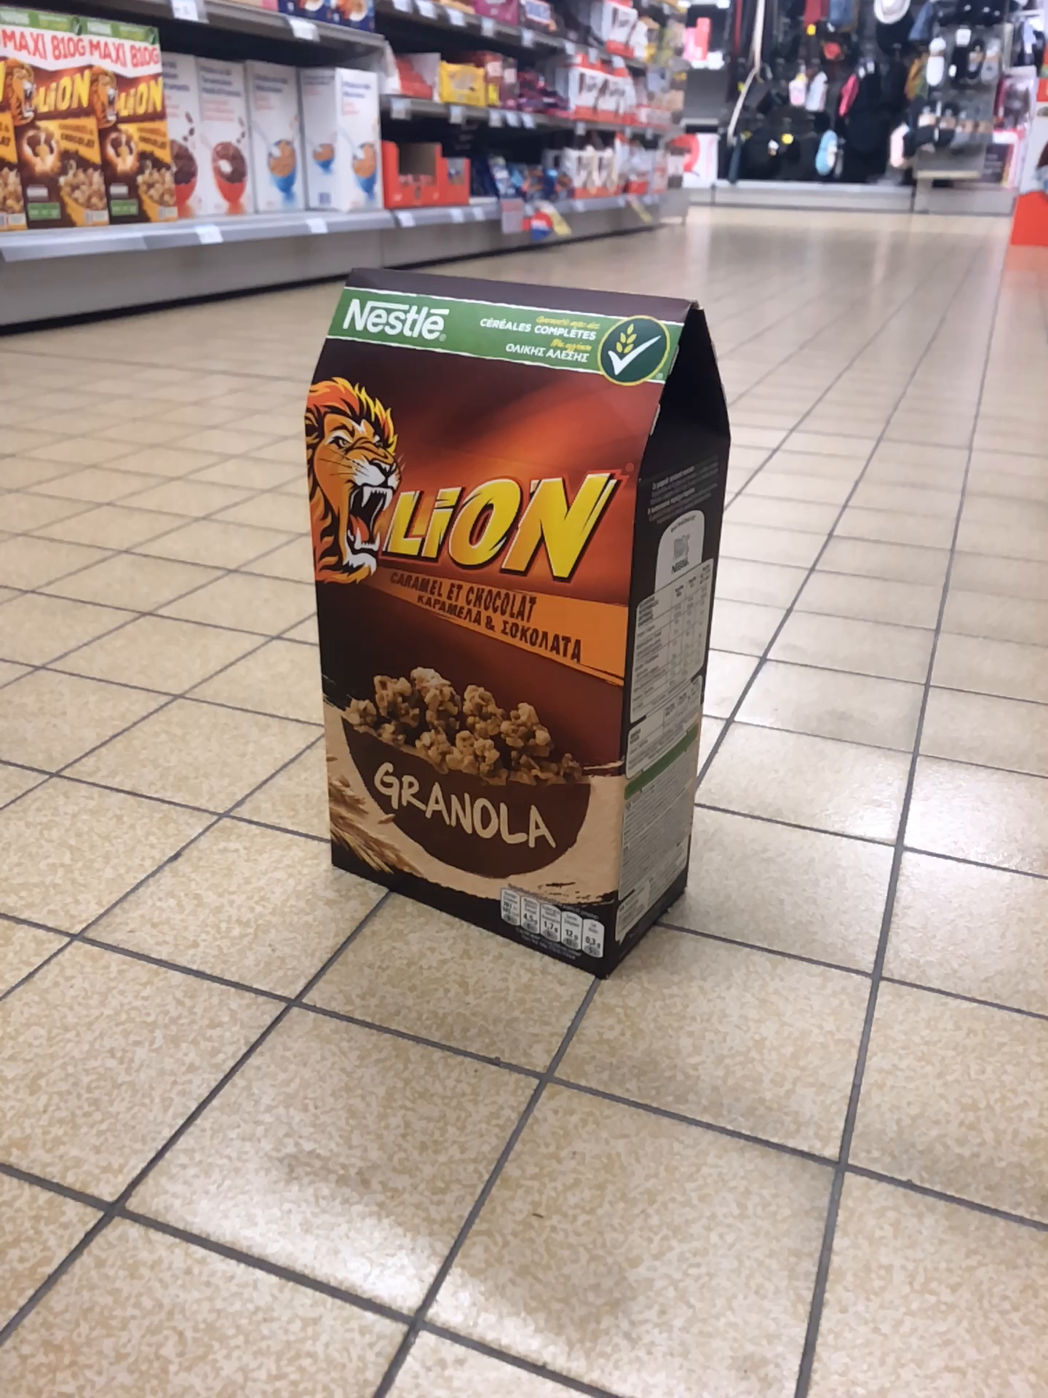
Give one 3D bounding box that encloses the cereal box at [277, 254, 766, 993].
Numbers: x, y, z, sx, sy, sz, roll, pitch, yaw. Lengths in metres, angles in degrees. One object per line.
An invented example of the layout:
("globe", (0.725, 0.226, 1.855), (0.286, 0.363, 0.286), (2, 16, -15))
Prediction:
("cereal box", (-0.004, -0.034, 0.451), (0.150, 0.249, 0.080), (16, 29, 29))
